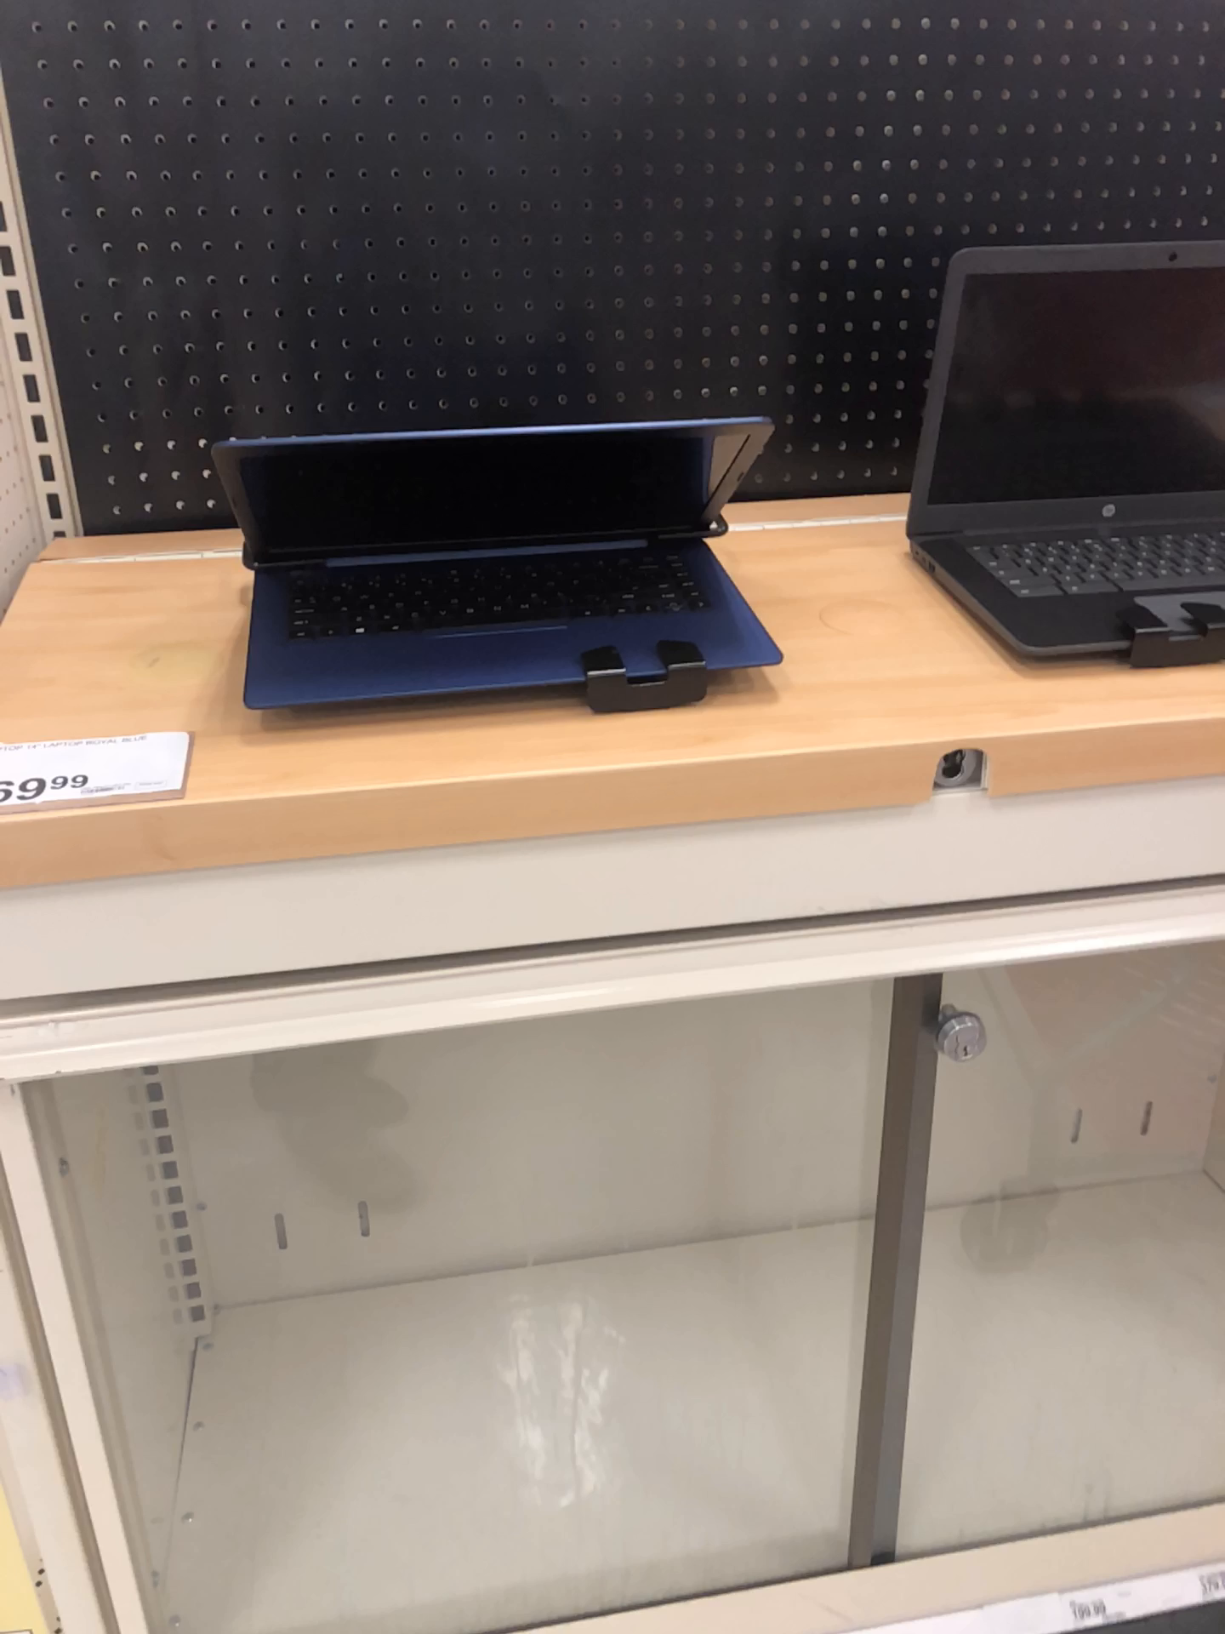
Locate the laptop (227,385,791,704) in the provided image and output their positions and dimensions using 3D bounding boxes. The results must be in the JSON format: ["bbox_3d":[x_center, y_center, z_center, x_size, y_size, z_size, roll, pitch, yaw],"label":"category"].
[{"bbox_3d":[-0.071,-0.186,0.864,0.320,0.110,0.202,-6,31,-9],"label":"laptop"}]

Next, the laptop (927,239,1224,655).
[{"bbox_3d":[0.413,-0.268,0.929,0.330,0.206,0.224,-4,27,-7],"label":"laptop"}]
